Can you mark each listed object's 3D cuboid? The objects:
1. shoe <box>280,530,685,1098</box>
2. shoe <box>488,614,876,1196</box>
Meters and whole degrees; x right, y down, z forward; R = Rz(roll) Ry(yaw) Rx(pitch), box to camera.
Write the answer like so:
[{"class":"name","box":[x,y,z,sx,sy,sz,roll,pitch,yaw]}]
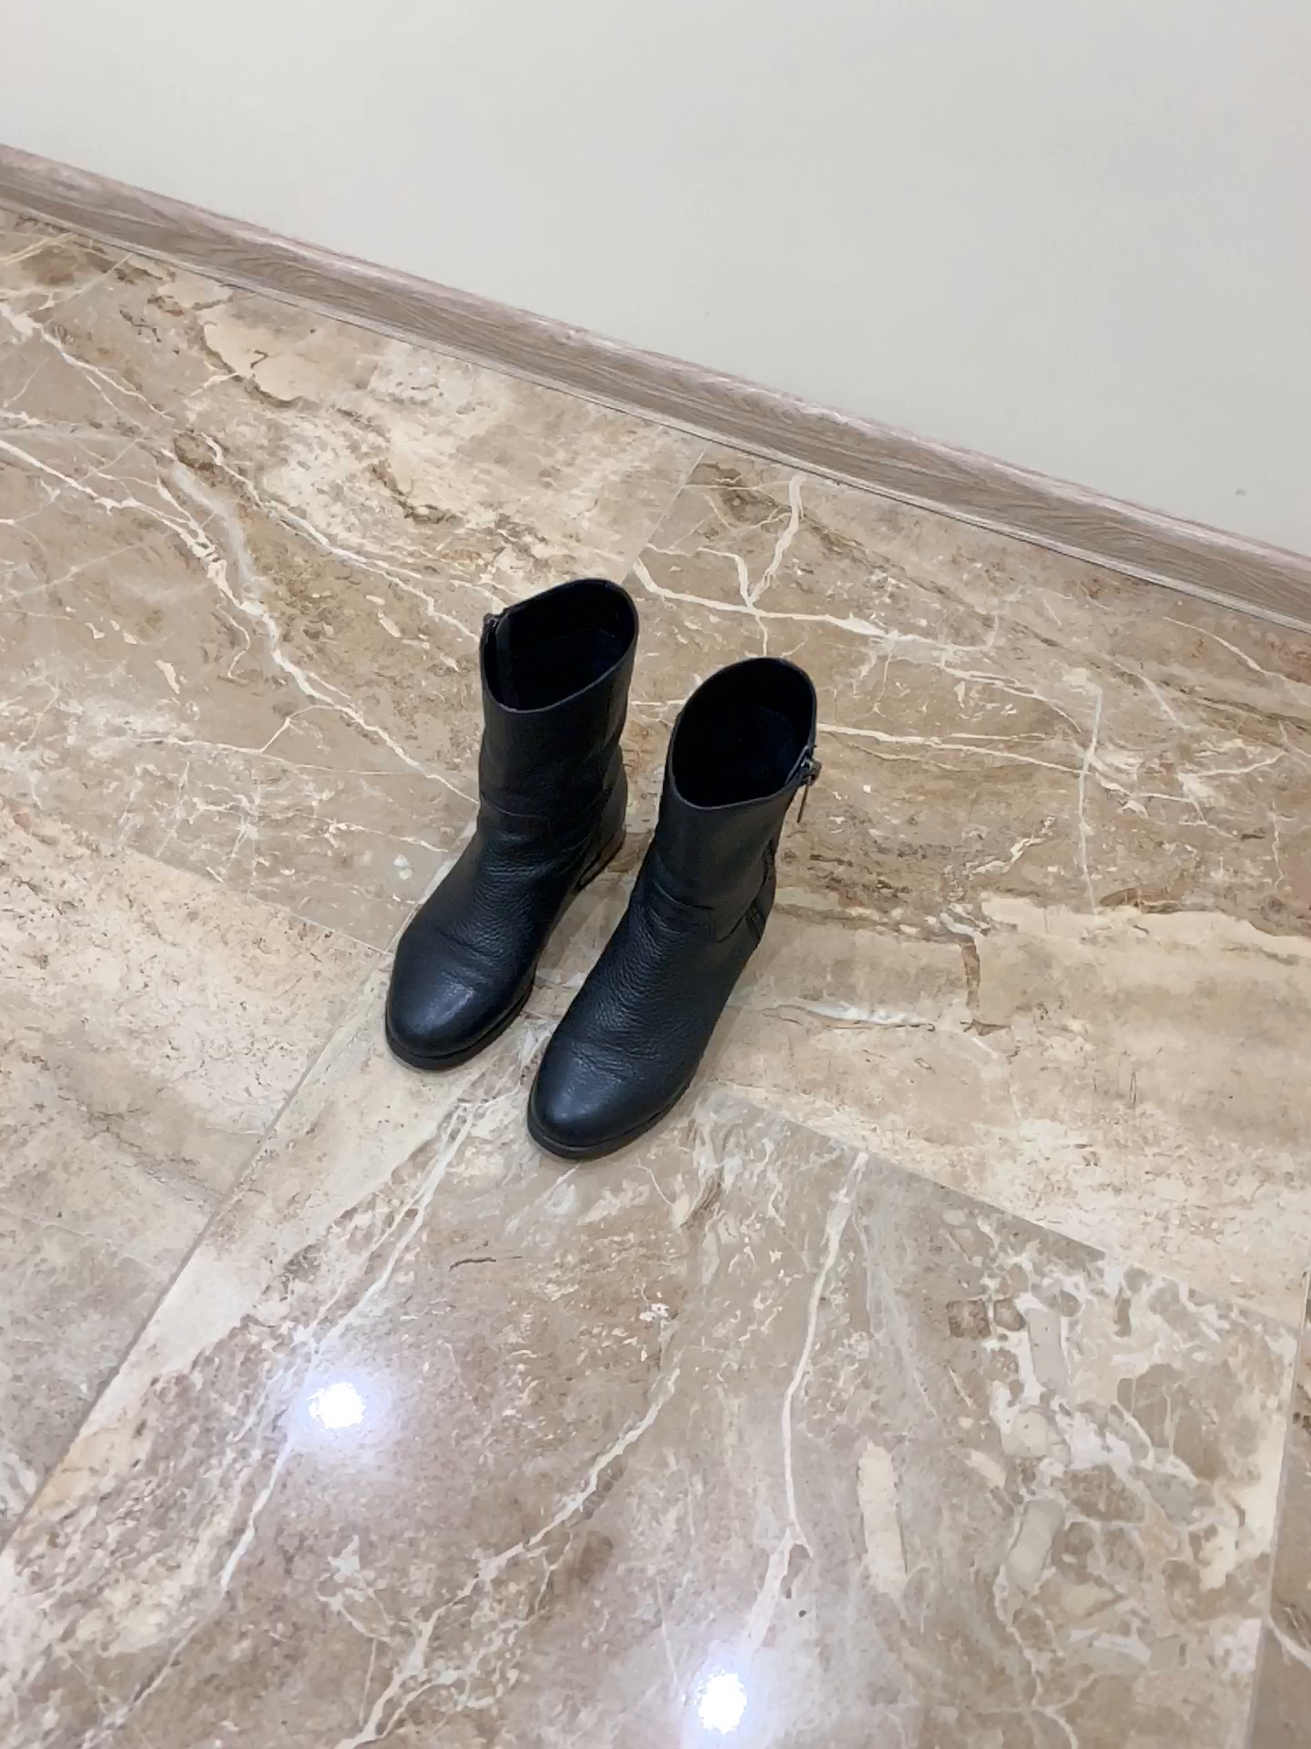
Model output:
[{"class":"shoe","box":[-0.091,-0.035,0.804,0.090,0.209,0.261,26,57,13]},{"class":"shoe","box":[0.015,0.019,0.781,0.090,0.209,0.261,26,58,13]}]
